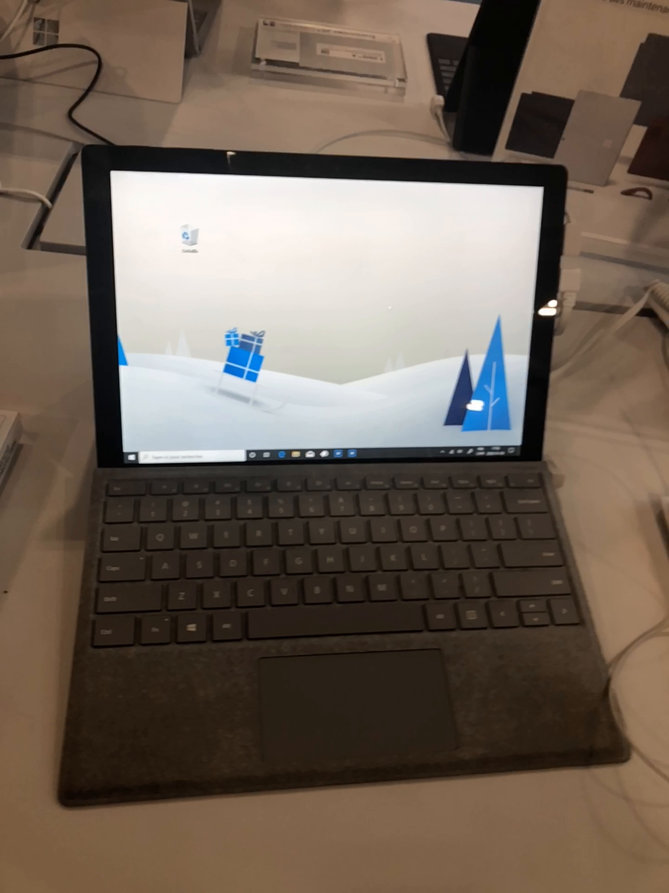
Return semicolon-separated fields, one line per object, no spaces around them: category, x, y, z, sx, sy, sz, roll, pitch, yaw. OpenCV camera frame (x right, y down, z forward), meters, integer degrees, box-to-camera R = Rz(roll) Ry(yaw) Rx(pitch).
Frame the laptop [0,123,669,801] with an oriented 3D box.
laptop;0.008;-0.007;0.404;0.285;0.150;0.308;0;53;-10
